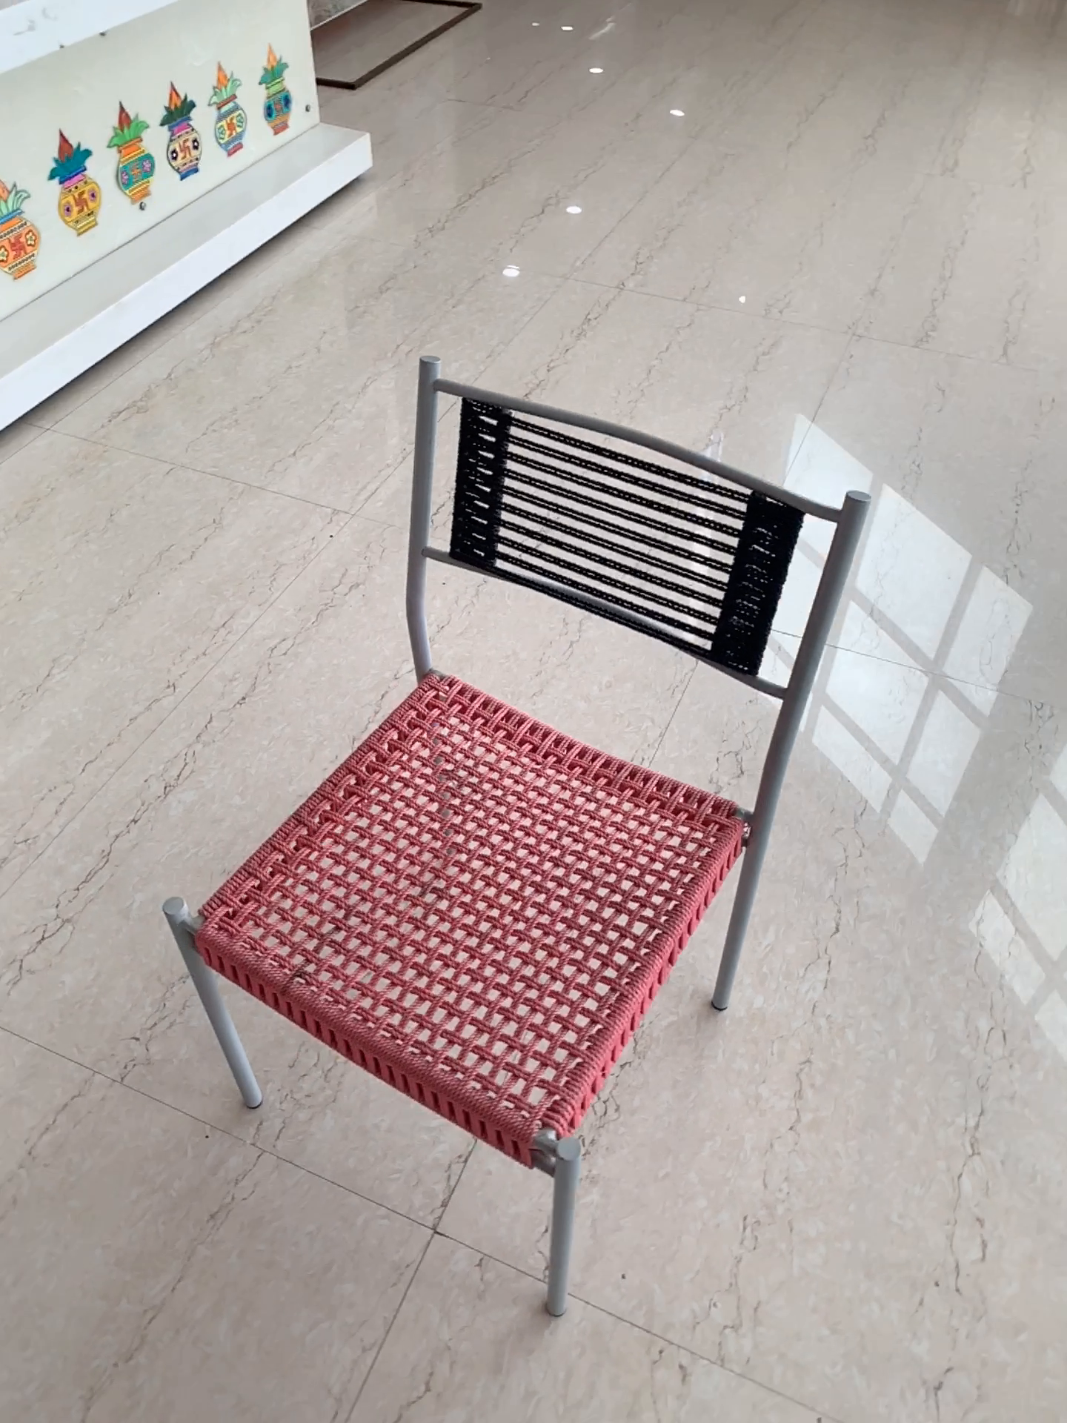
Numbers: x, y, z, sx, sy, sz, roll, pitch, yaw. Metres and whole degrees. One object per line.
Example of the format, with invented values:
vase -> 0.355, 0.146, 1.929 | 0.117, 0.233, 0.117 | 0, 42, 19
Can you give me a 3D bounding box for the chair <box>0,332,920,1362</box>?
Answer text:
chair -> -0.041, 0.136, 1.127 | 0.531, 0.734, 0.583 | 23, 50, 21
